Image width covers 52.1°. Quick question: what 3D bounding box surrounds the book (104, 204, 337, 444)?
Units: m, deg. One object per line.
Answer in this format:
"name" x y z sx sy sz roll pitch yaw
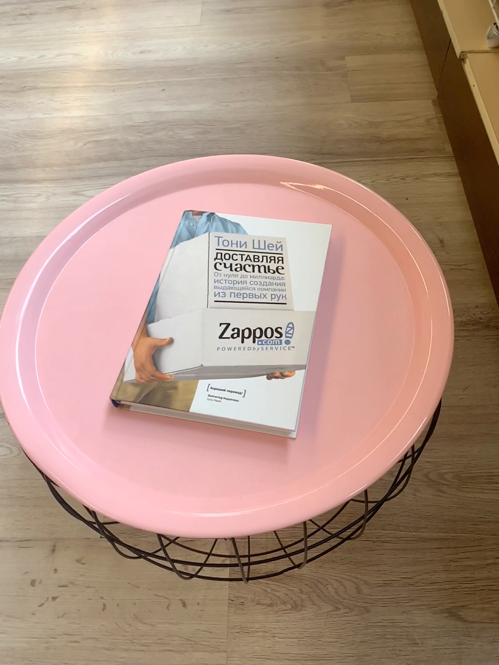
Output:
"book" -0.017 -0.022 0.497 0.170 0.030 0.232 9 59 10
